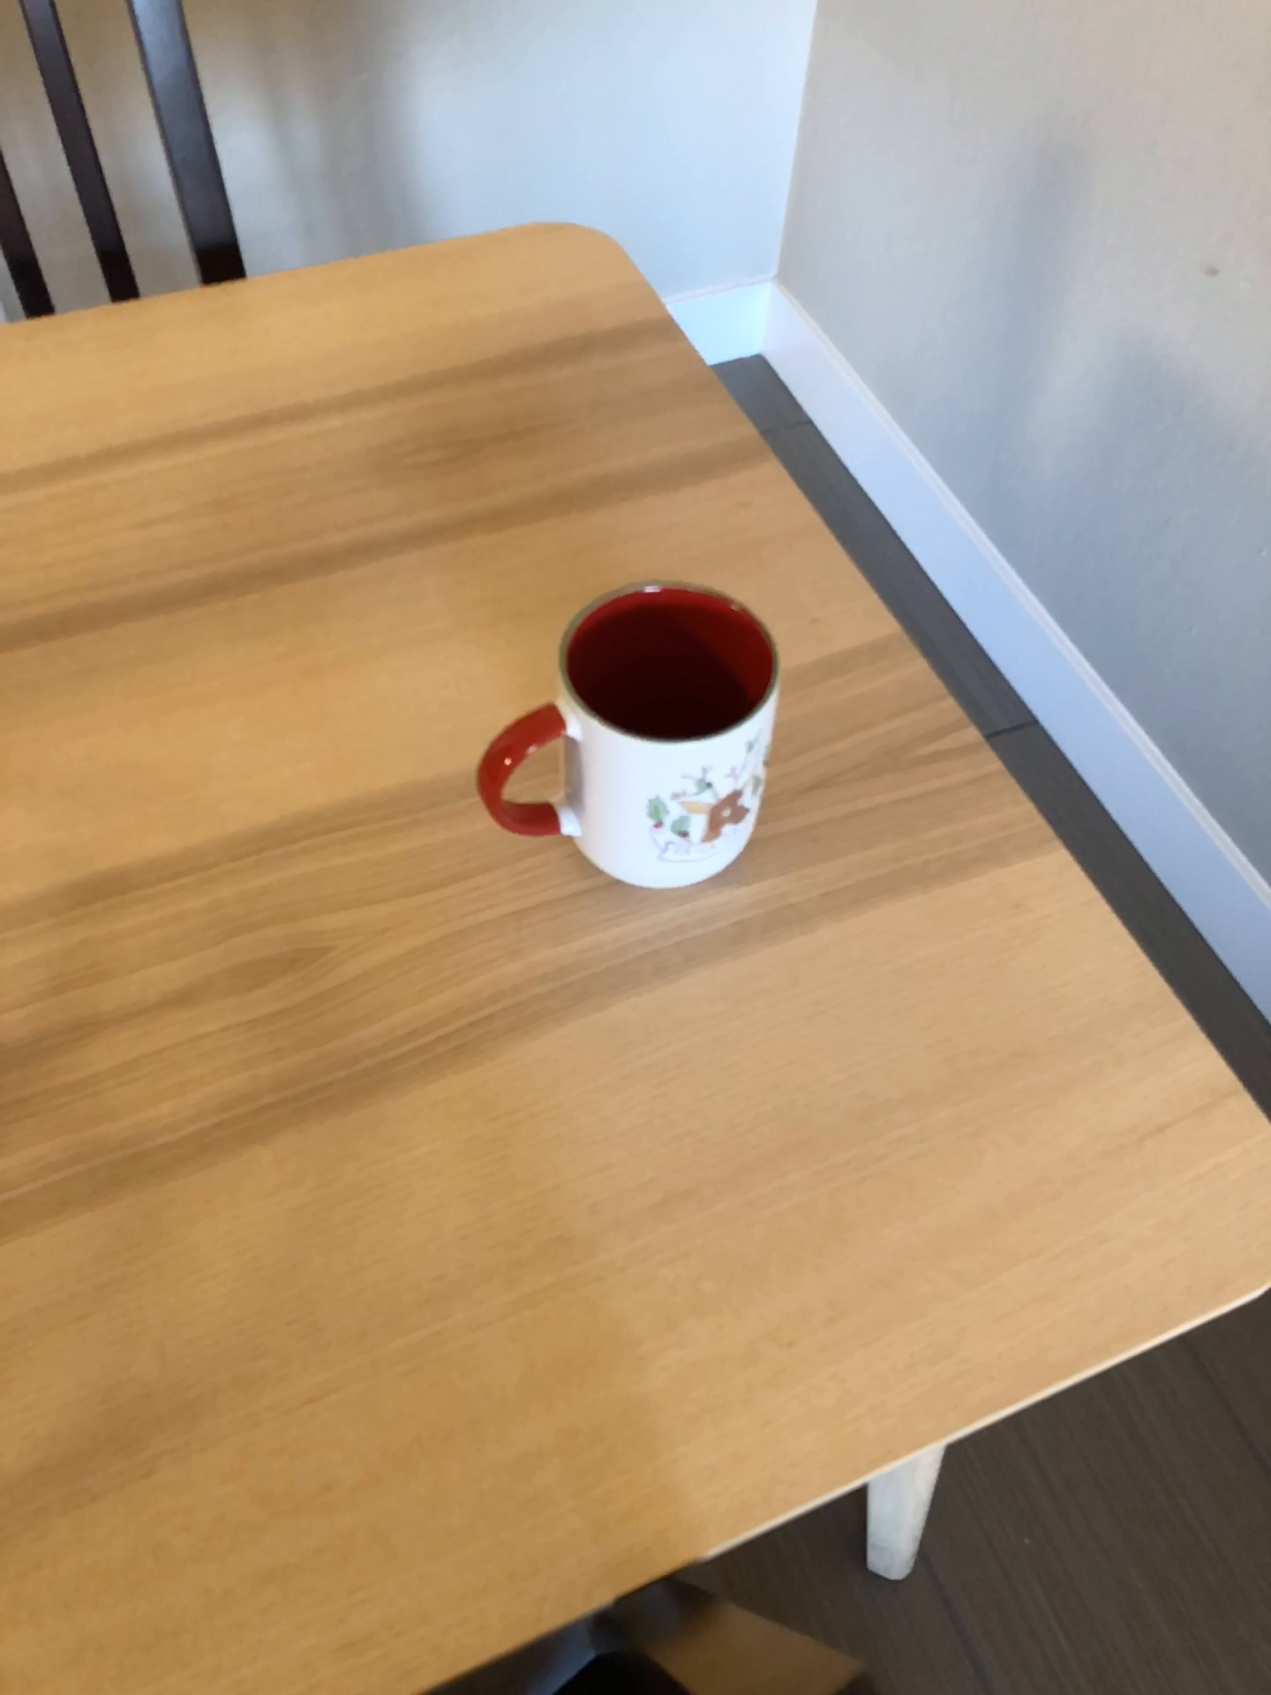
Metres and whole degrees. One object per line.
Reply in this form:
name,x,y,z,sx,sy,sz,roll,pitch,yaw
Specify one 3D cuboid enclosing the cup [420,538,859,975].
cup,0.000,-0.039,0.580,0.140,0.100,0.100,-24,57,-19
